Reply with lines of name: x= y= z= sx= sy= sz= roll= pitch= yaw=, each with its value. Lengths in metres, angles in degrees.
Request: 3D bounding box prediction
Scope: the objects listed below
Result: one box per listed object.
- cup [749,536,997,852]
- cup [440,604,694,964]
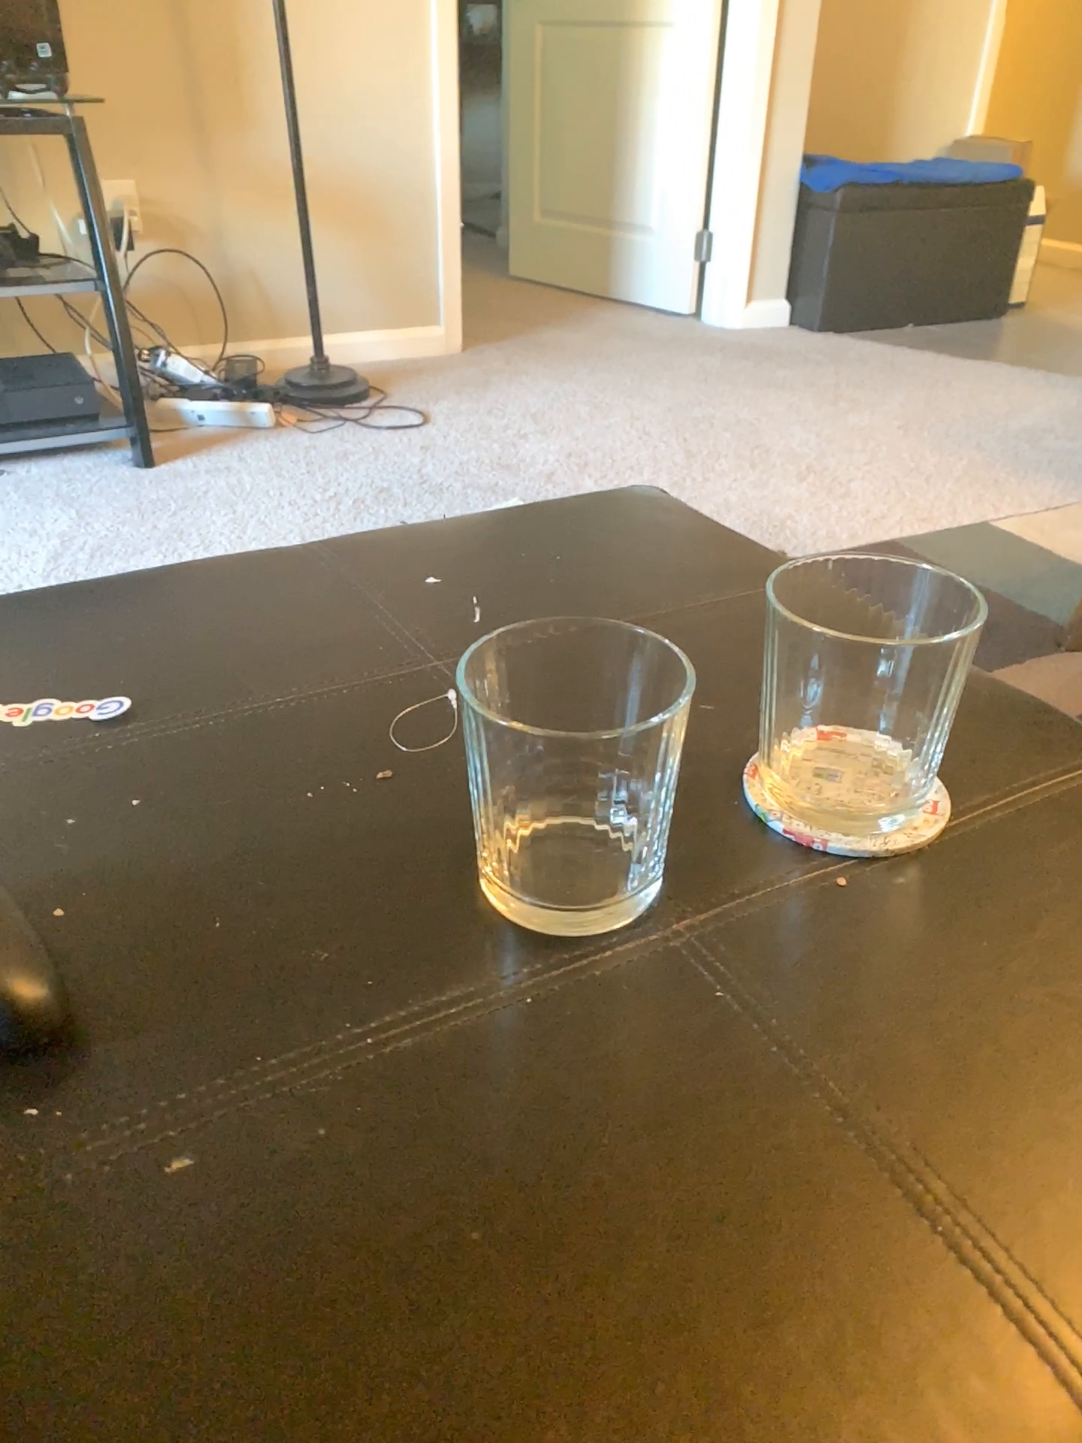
cup: x=0.138 y=-0.014 z=0.487 sx=0.080 sy=0.099 sz=0.091 roll=5 pitch=32 yaw=7
cup: x=0.012 y=0.021 z=0.416 sx=0.080 sy=0.099 sz=0.080 roll=1 pitch=32 yaw=-1
